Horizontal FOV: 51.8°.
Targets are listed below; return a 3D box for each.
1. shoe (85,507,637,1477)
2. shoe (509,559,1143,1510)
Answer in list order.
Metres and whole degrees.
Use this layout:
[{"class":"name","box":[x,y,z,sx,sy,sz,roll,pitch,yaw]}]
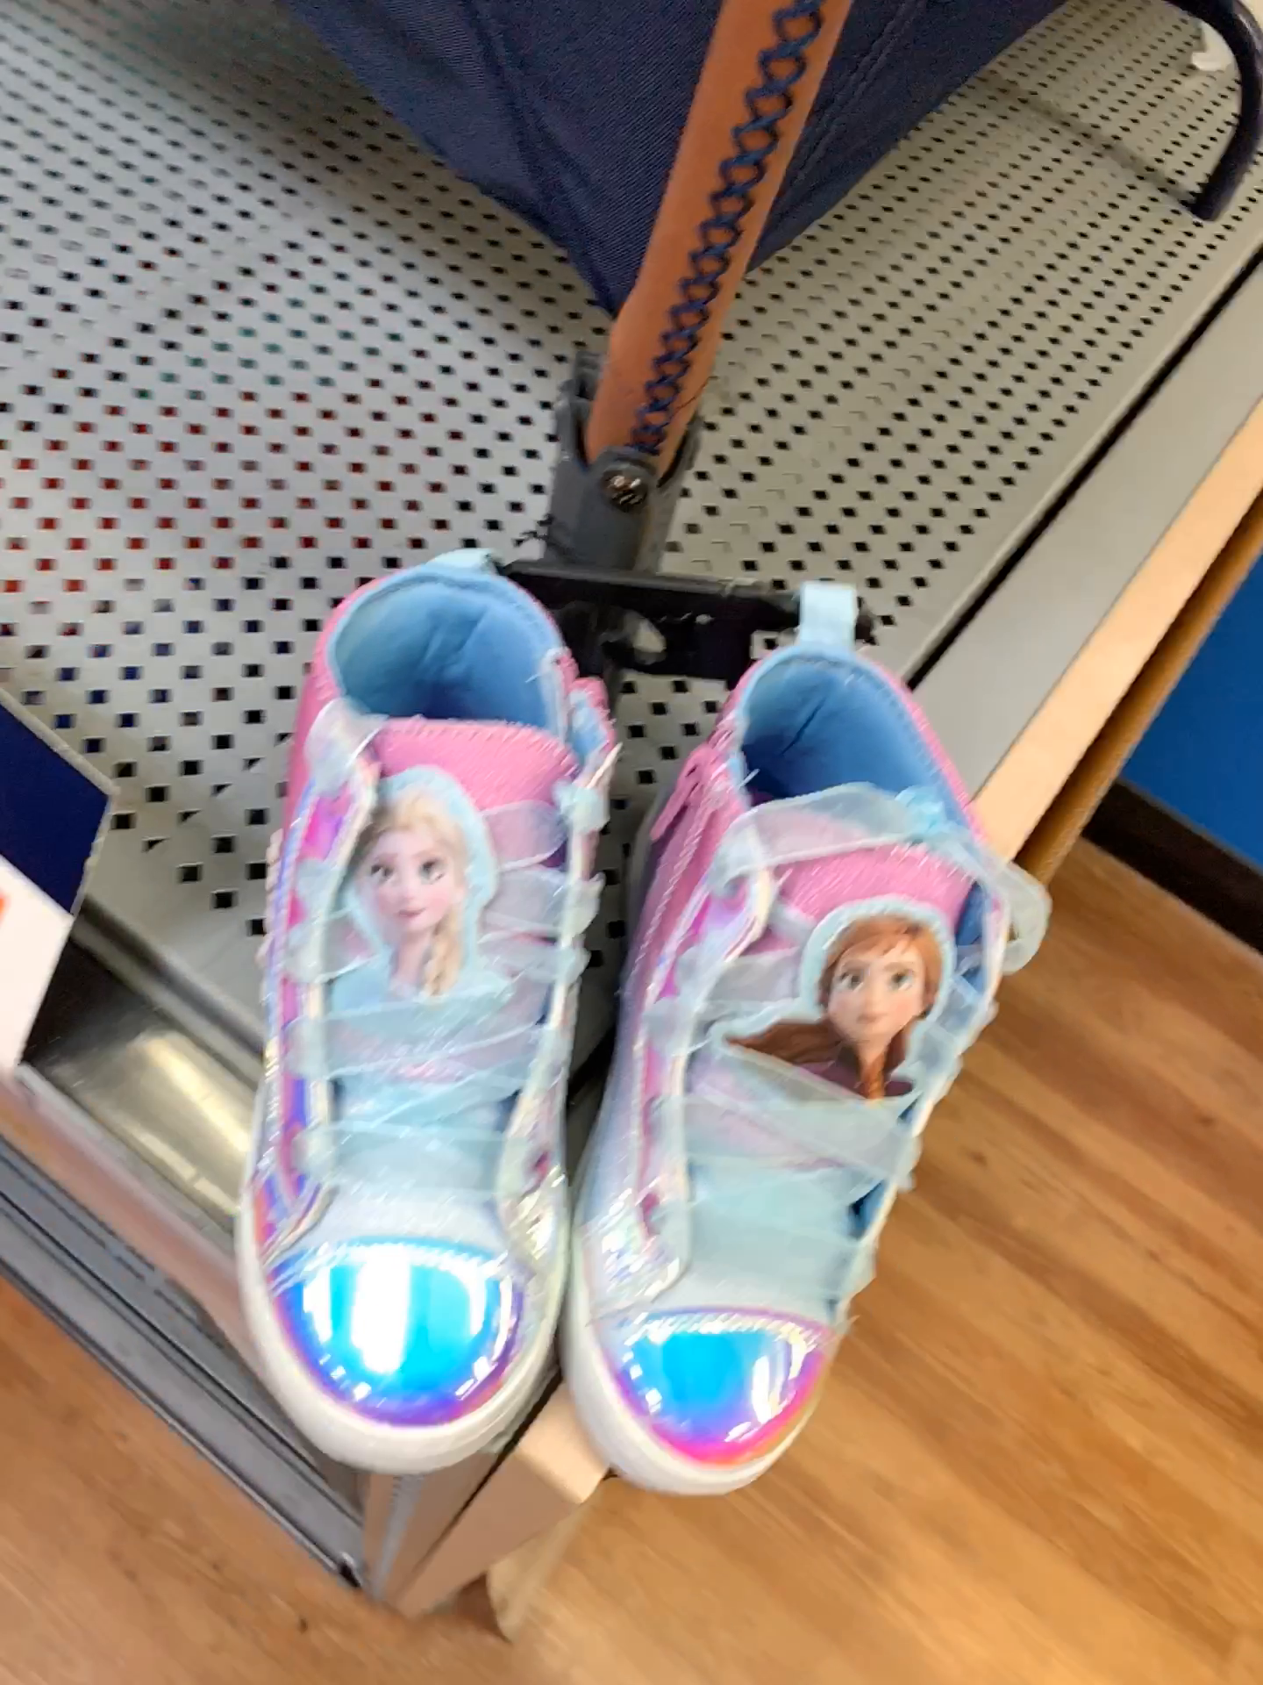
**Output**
[{"class":"shoe","box":[-0.049,0.033,0.290,0.079,0.102,0.183,7,58,-8]},{"class":"shoe","box":[0.034,0.046,0.302,0.089,0.102,0.183,11,57,-12]}]
